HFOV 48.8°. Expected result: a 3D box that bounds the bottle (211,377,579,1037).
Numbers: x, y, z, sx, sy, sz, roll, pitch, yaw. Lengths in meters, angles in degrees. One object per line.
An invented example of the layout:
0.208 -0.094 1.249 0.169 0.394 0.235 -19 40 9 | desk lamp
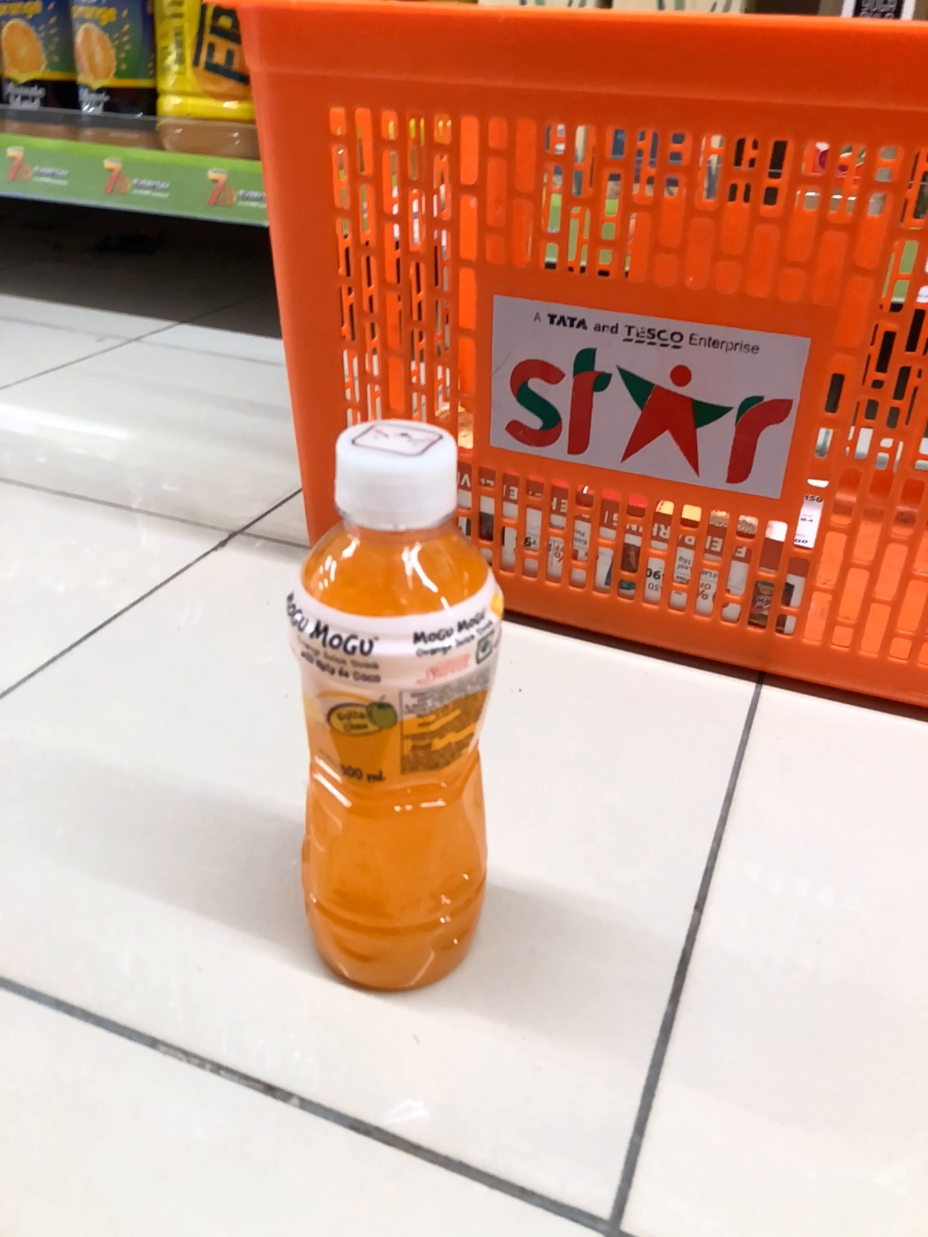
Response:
-0.017 0.025 0.282 0.060 0.159 0.066 2 30 -1 | bottle
